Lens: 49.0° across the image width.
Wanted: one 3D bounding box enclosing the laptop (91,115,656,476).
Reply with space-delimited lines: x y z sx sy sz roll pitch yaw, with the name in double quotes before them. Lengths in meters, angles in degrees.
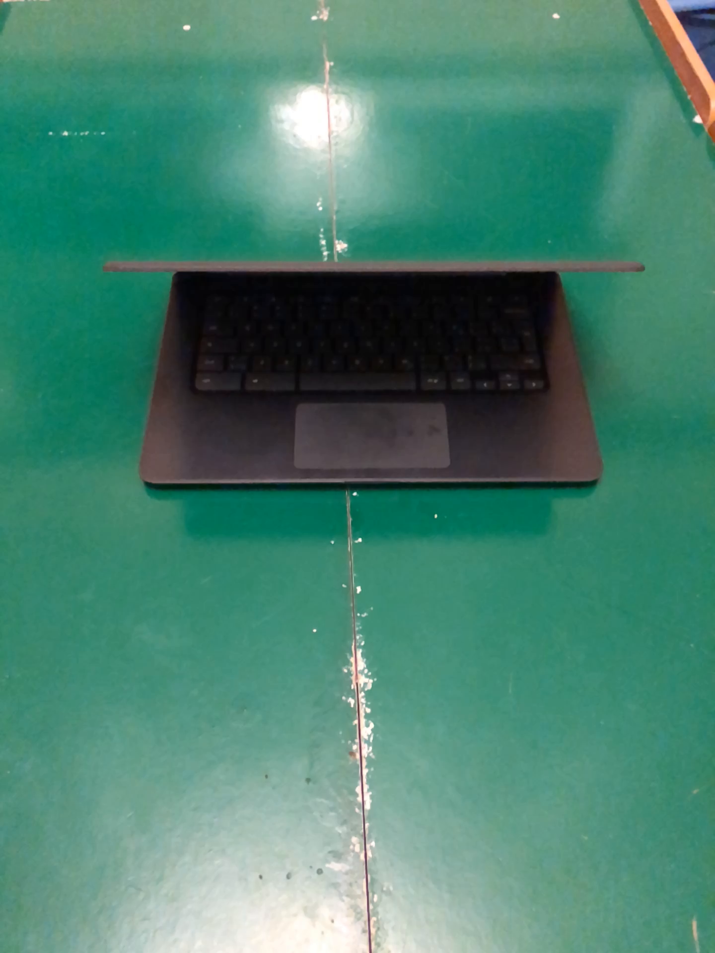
"laptop" 0.008 -0.129 0.556 0.316 0.144 0.209 0 55 -1
